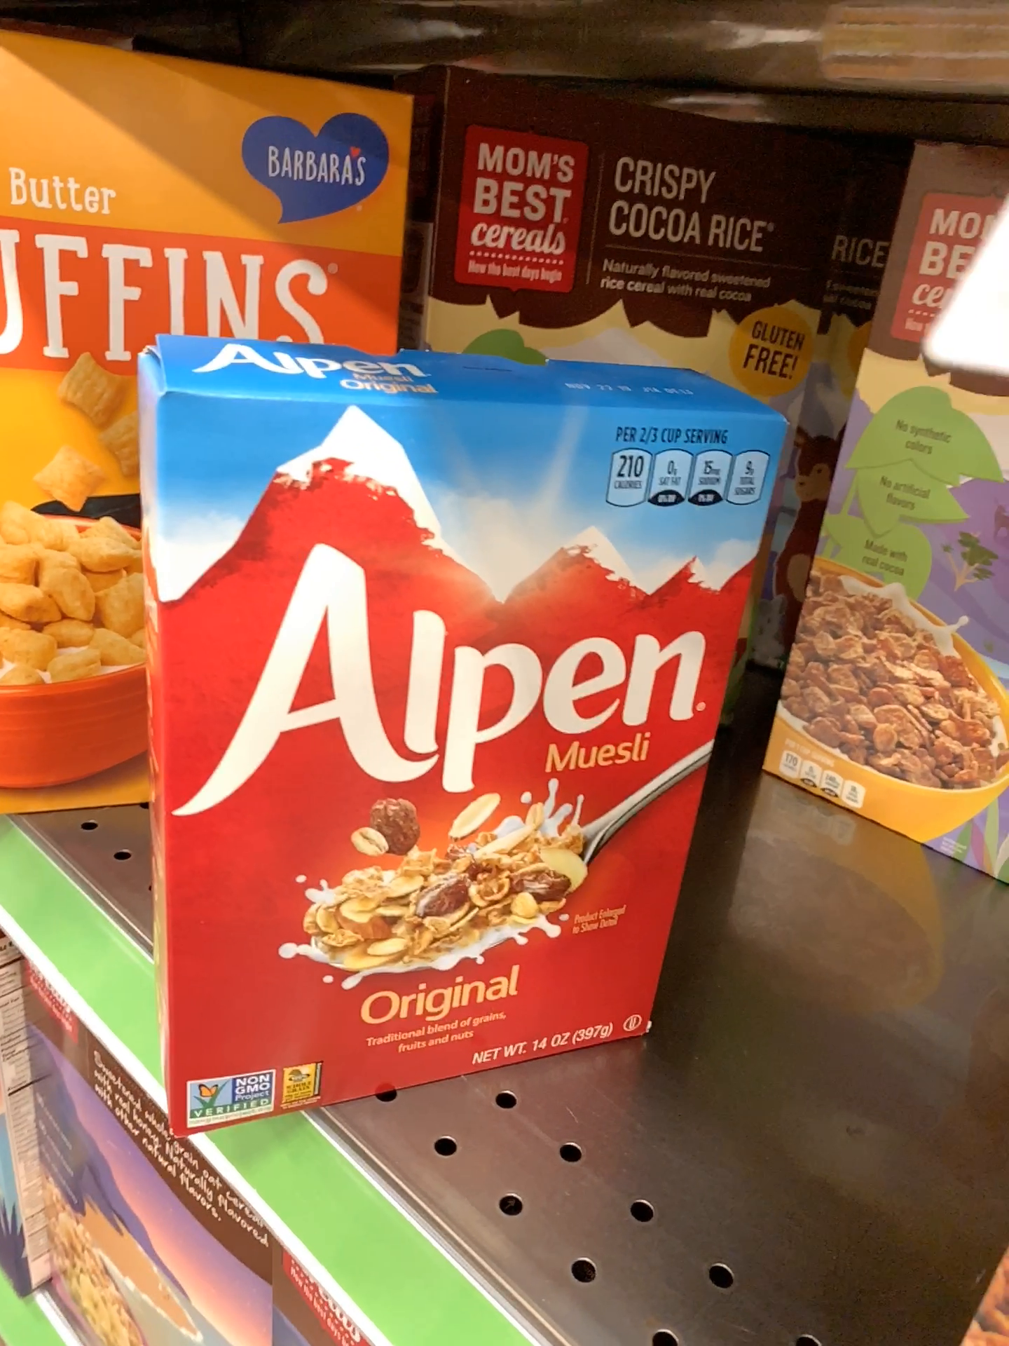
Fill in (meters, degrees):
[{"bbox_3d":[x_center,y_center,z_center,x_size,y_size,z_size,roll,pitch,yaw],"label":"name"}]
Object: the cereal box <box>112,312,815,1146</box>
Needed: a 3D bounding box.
[{"bbox_3d":[-0.017,0.020,0.285,0.160,0.209,0.040,-3,26,-22],"label":"cereal box"}]
